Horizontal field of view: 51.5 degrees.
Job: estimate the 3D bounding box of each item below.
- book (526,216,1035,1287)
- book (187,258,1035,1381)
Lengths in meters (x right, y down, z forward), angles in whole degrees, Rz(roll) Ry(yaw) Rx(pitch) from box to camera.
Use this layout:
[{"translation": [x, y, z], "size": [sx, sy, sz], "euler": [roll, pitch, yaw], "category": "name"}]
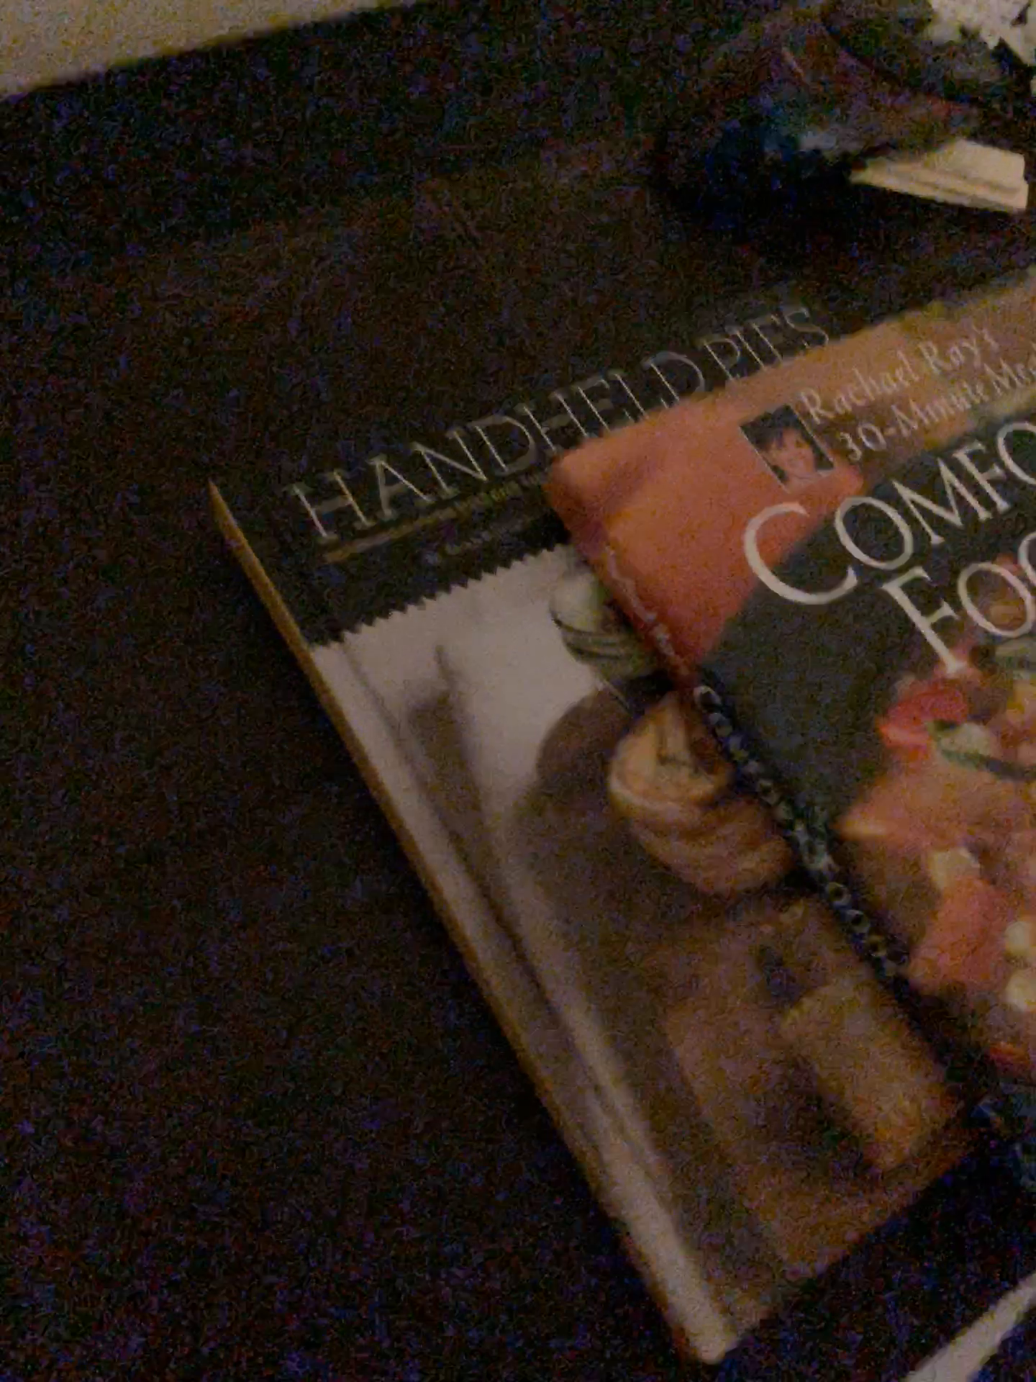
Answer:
[{"translation": [0.142, -0.014, 0.269], "size": [0.200, 0.020, 0.210], "euler": [-26, 72, -21], "category": "book"}, {"translation": [0.052, 0.002, 0.263], "size": [0.180, 0.020, 0.220], "euler": [-26, 72, -21], "category": "book"}]
